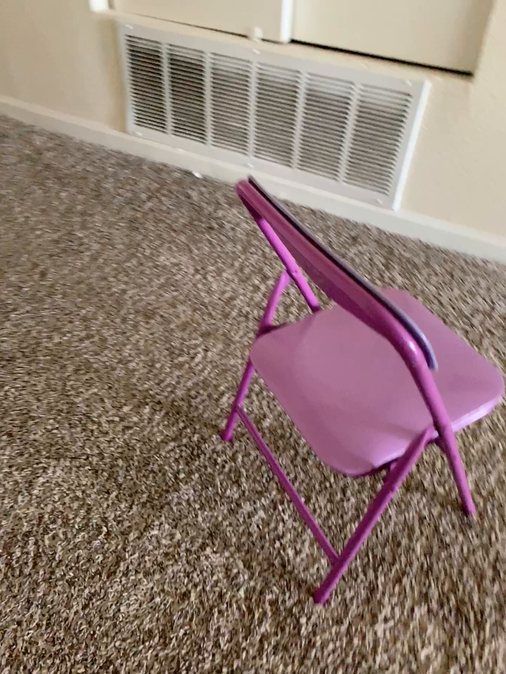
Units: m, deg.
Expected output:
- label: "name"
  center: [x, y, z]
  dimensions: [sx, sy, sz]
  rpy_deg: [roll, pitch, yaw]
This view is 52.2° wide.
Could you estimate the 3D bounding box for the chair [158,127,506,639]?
- label: "chair"
  center: [0.139, 0.043, 0.705]
  dimensions: [0.391, 0.468, 0.381]
  rpy_deg: [-18, 47, -23]
